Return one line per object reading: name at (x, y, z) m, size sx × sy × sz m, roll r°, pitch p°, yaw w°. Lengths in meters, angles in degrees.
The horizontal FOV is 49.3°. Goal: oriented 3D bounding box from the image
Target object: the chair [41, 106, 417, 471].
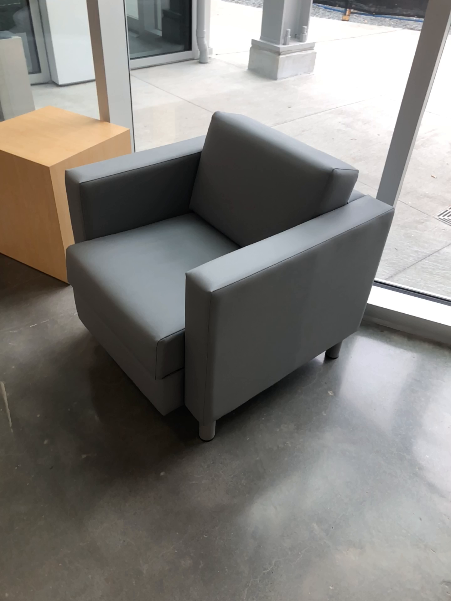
chair at (-0.016, -0.115, 1.649) m, size 0.782 × 0.695 × 0.774 m, roll -26°, pitch 48°, yaw -31°
